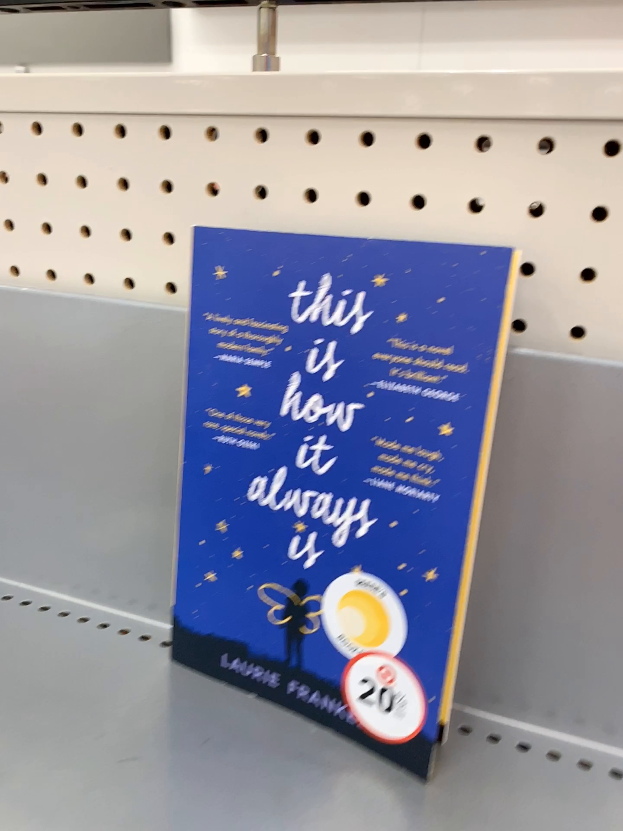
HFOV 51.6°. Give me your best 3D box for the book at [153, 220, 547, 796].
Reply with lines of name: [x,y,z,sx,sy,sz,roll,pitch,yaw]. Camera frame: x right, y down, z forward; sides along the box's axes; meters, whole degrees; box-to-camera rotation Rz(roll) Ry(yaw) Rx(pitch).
book: [0.006,0.031,0.280,0.140,0.209,0.044,13,14,26]
